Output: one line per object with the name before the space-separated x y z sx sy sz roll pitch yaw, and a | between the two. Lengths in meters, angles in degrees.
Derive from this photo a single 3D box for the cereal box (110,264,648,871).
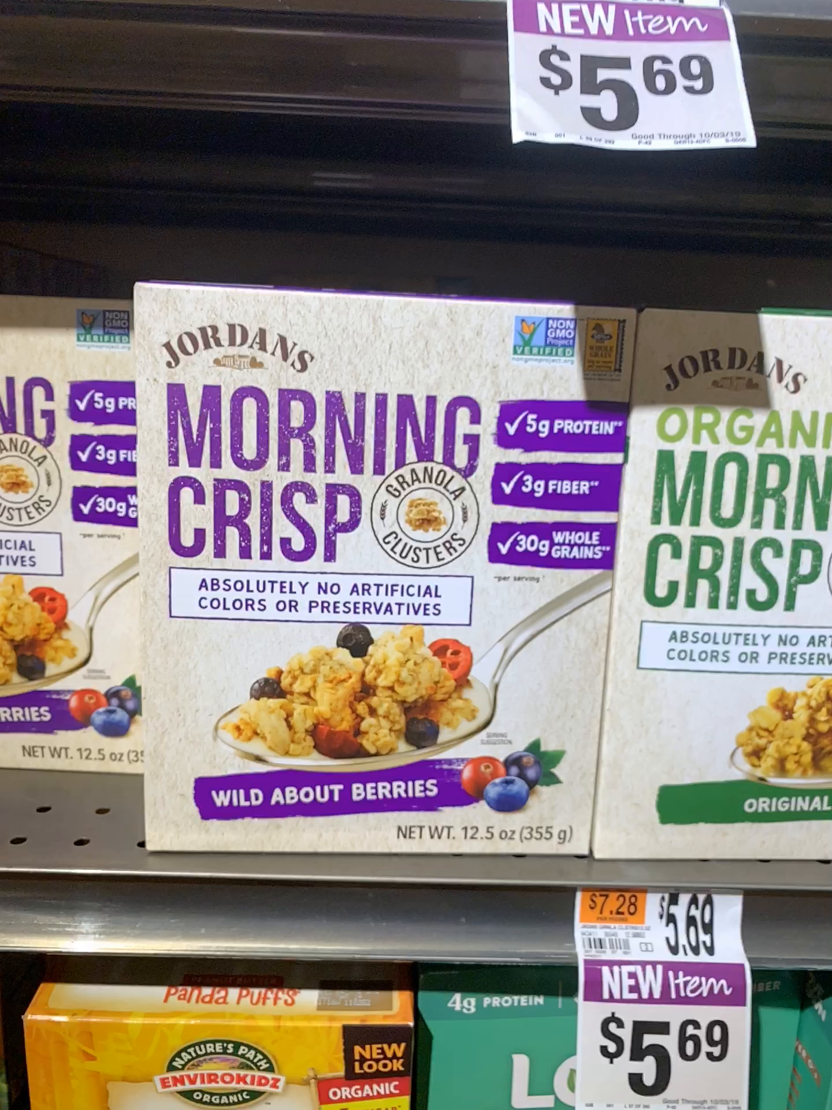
cereal box | -0.016 0.007 0.340 0.180 0.219 0.060 1 11 -3
